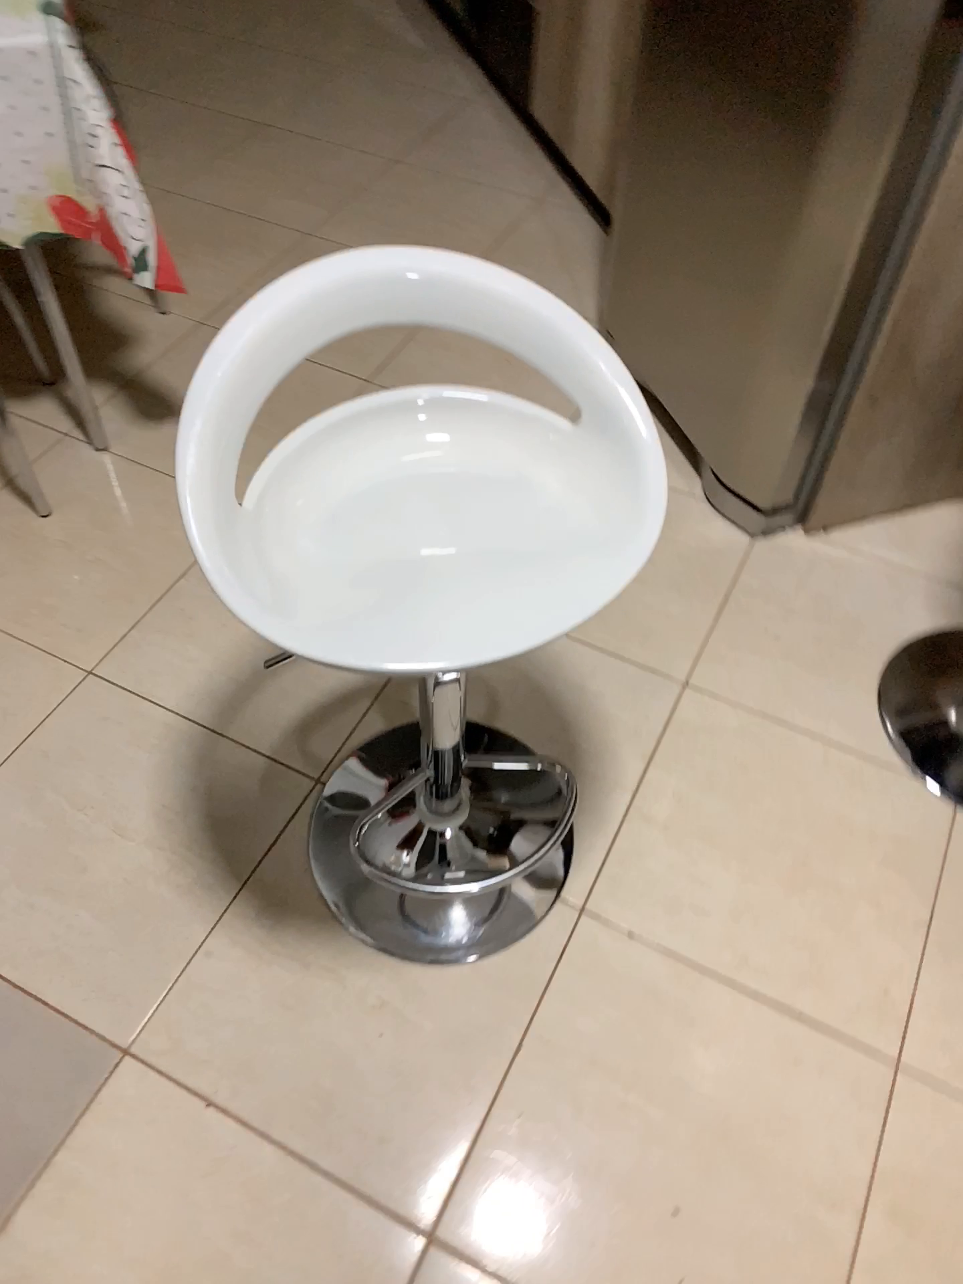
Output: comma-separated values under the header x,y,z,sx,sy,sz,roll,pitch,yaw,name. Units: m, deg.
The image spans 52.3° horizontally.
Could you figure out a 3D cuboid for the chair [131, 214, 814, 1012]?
x,y,z,sx,sy,sz,roll,pitch,yaw,name
-0.048,0.009,1.108,0.470,0.734,0.453,-12,52,-11,chair
